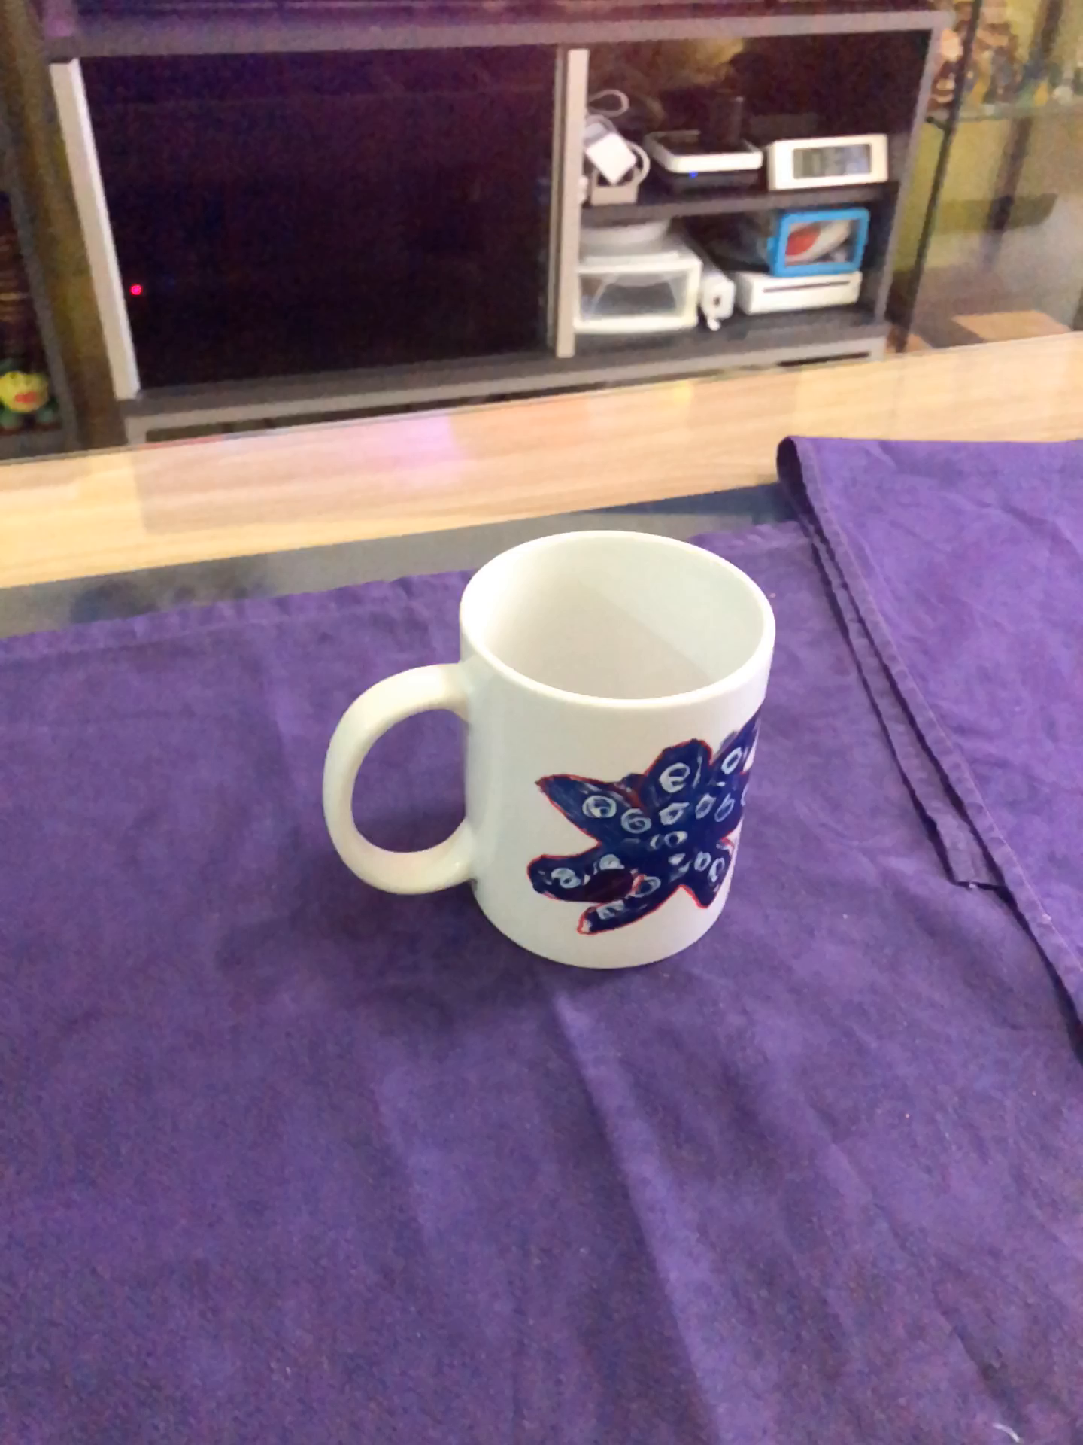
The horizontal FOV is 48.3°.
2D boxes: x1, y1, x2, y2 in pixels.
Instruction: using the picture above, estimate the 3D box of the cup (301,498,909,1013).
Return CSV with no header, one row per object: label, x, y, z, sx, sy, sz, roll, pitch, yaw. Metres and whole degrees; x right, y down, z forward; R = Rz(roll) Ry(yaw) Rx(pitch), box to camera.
cup,0.010,0.006,0.318,0.130,0.090,0.080,-7,40,-10
